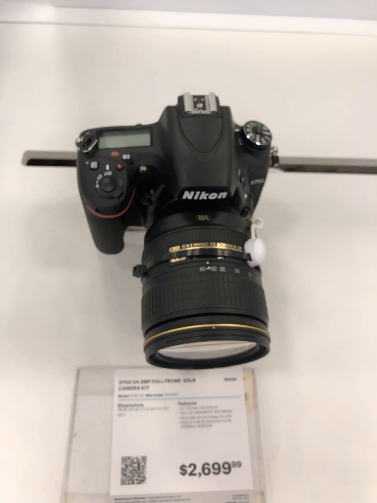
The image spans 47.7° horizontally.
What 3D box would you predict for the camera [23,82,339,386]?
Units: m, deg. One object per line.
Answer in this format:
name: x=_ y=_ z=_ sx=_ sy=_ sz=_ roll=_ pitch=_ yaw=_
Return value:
camera: x=-0.009 y=-0.010 z=0.290 sx=0.150 sy=0.110 sz=0.170 roll=-2 pitch=62 yaw=-4
